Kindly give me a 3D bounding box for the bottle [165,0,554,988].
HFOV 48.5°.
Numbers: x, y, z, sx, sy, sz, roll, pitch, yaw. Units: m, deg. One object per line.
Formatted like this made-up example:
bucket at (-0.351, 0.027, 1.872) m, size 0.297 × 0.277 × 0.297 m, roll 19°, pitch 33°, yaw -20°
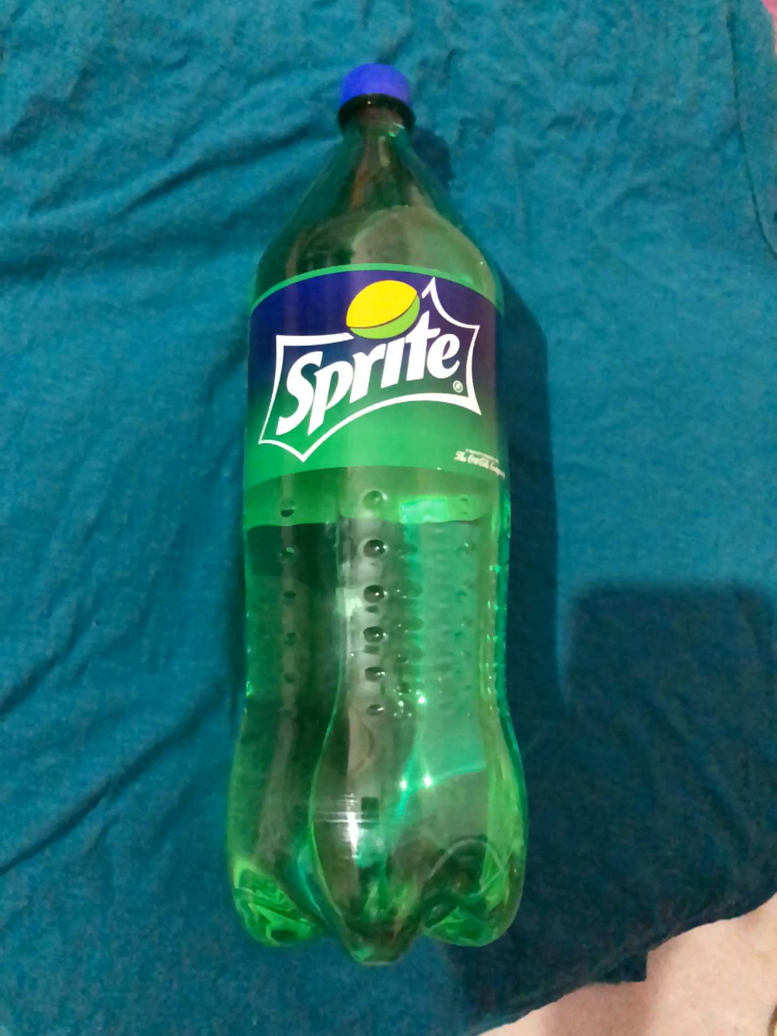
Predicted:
bottle at (-0.010, -0.028, 0.305) m, size 0.110 × 0.070 × 0.330 m, roll 2°, pitch 80°, yaw -10°
